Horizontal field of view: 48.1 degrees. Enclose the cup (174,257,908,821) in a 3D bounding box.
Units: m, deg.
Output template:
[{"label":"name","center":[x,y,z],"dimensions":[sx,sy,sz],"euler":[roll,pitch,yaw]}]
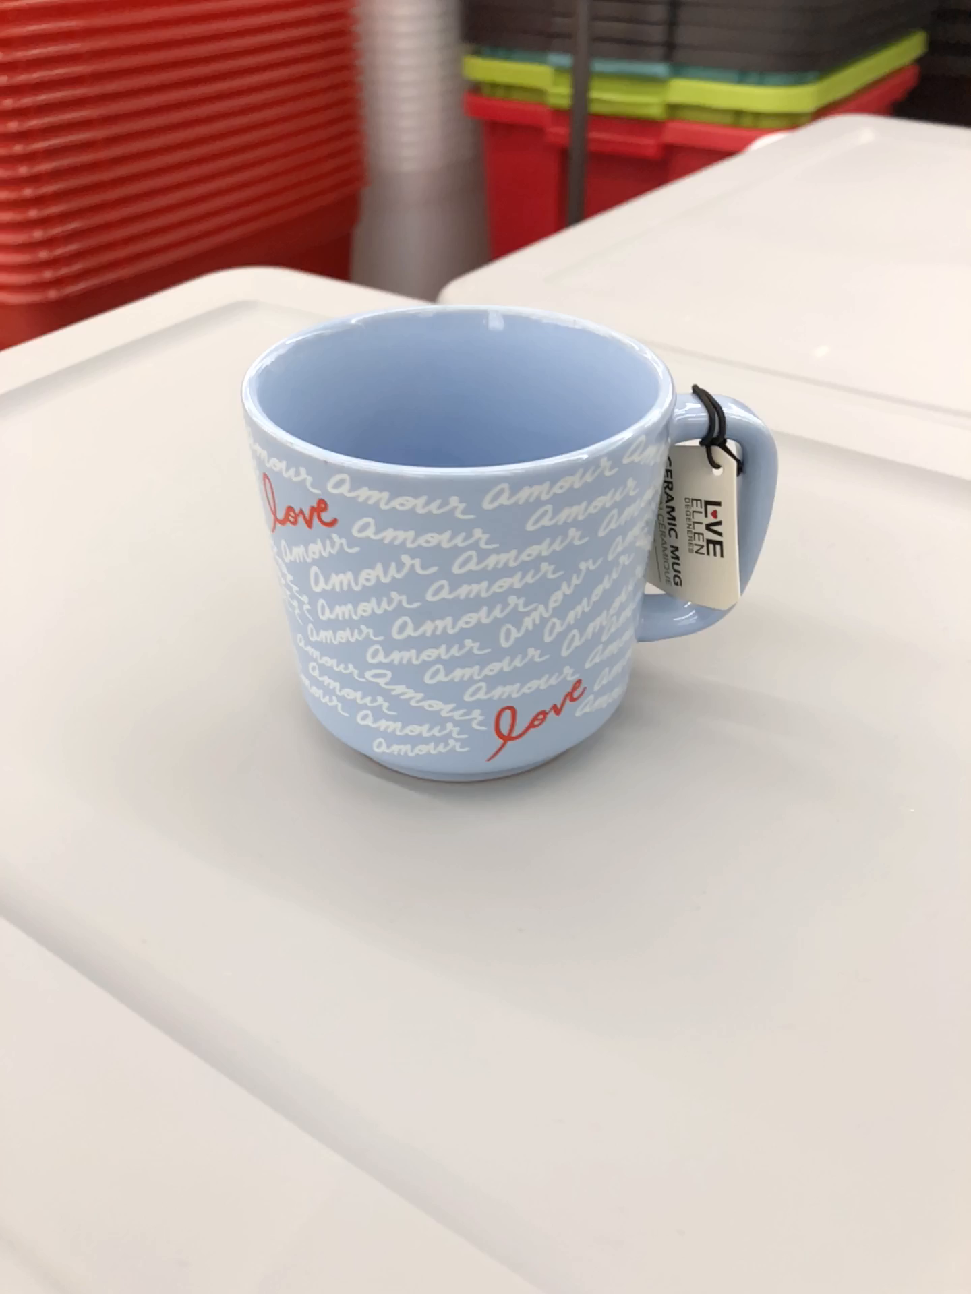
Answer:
[{"label":"cup","center":[0.004,-0.034,0.265],"dimensions":[0.140,0.080,0.100],"euler":[-9,37,-11]}]
